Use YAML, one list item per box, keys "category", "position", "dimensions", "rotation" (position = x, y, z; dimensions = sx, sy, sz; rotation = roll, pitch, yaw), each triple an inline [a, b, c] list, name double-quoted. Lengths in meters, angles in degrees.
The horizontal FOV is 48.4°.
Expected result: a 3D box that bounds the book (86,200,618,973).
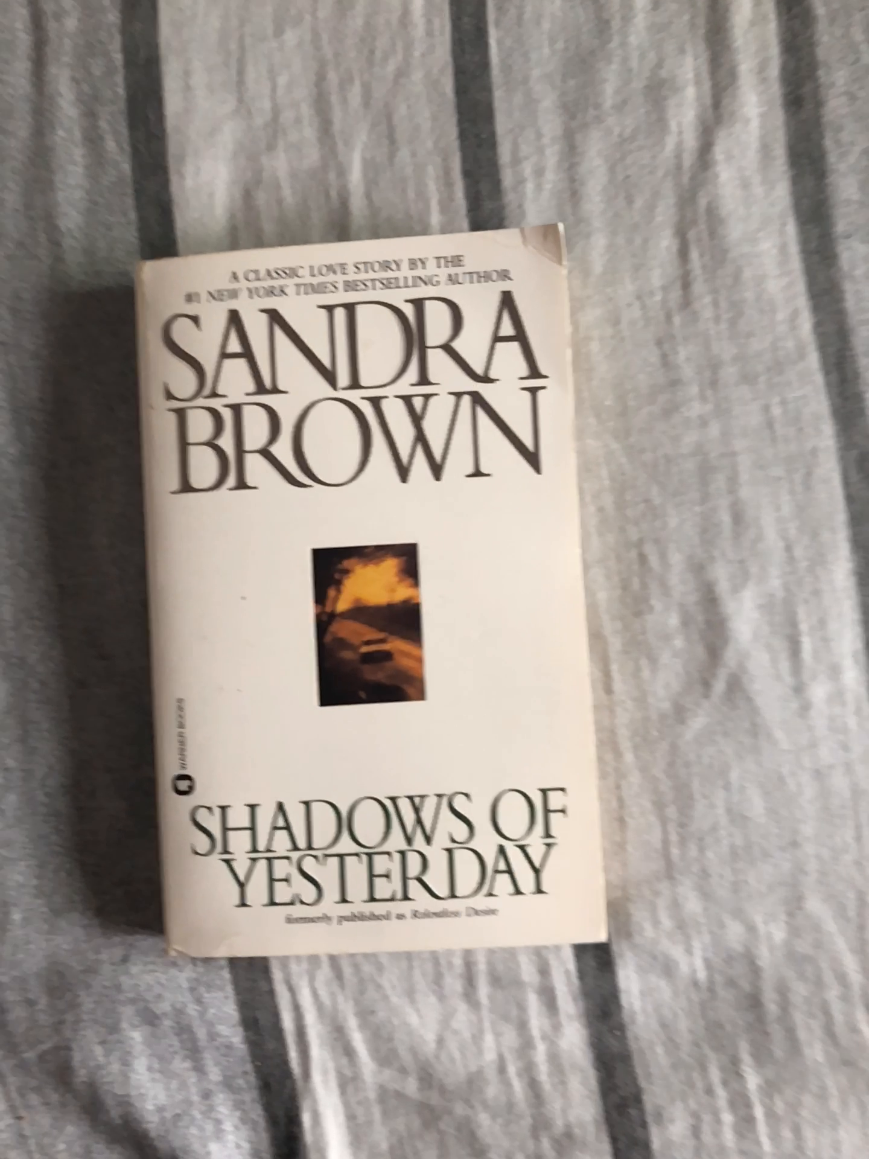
- category: "book"
  position: [-0.021, 0.000, 0.245]
  dimensions: [0.120, 0.030, 0.180]
  rotation: [-2, 88, -2]
